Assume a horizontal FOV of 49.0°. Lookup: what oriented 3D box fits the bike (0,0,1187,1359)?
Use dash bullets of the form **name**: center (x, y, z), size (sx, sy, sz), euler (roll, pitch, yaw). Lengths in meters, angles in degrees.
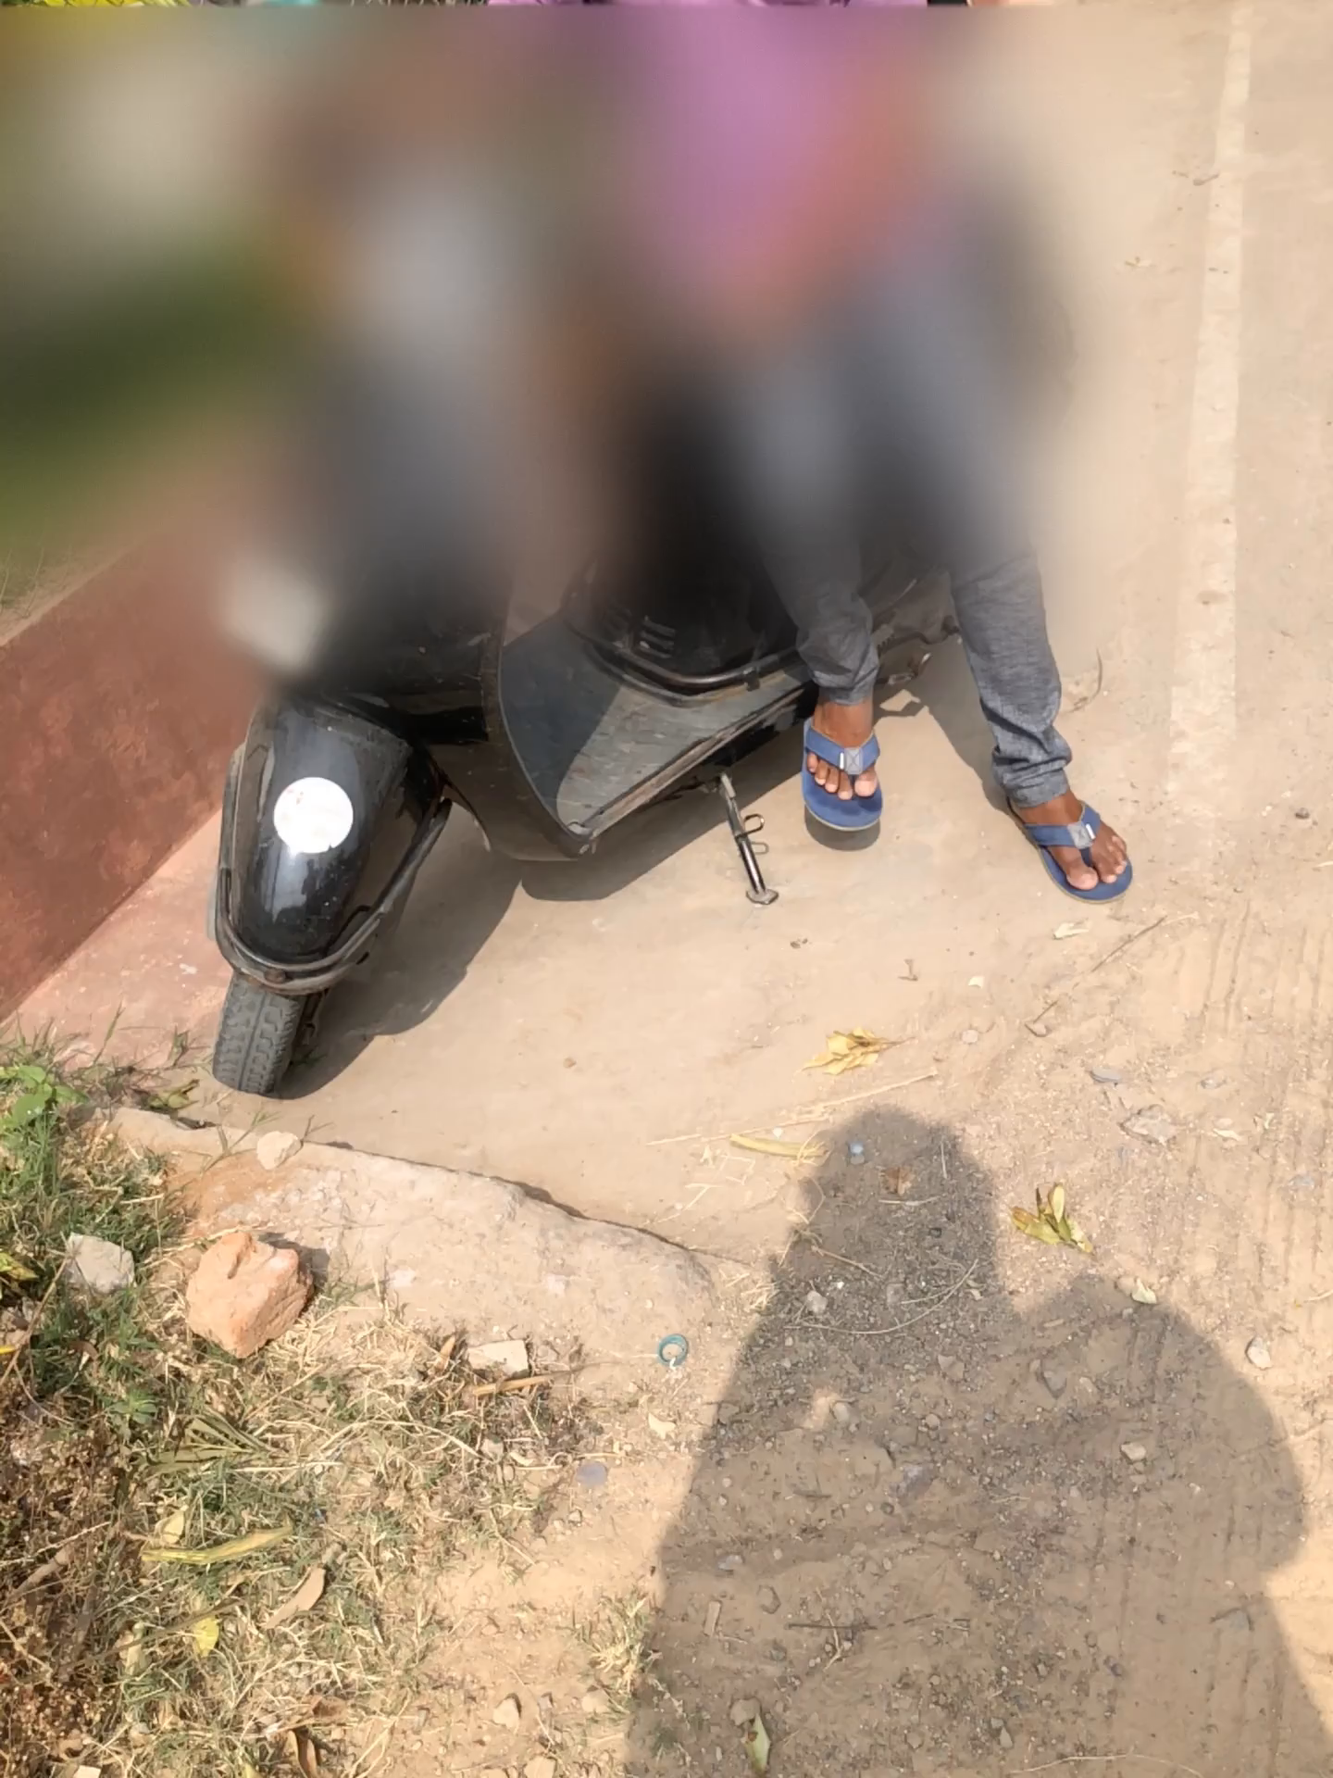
- **bike**: center (-0.020, -0.479, 1.884), size (0.709, 1.154, 1.554), euler (19, 48, 39)
